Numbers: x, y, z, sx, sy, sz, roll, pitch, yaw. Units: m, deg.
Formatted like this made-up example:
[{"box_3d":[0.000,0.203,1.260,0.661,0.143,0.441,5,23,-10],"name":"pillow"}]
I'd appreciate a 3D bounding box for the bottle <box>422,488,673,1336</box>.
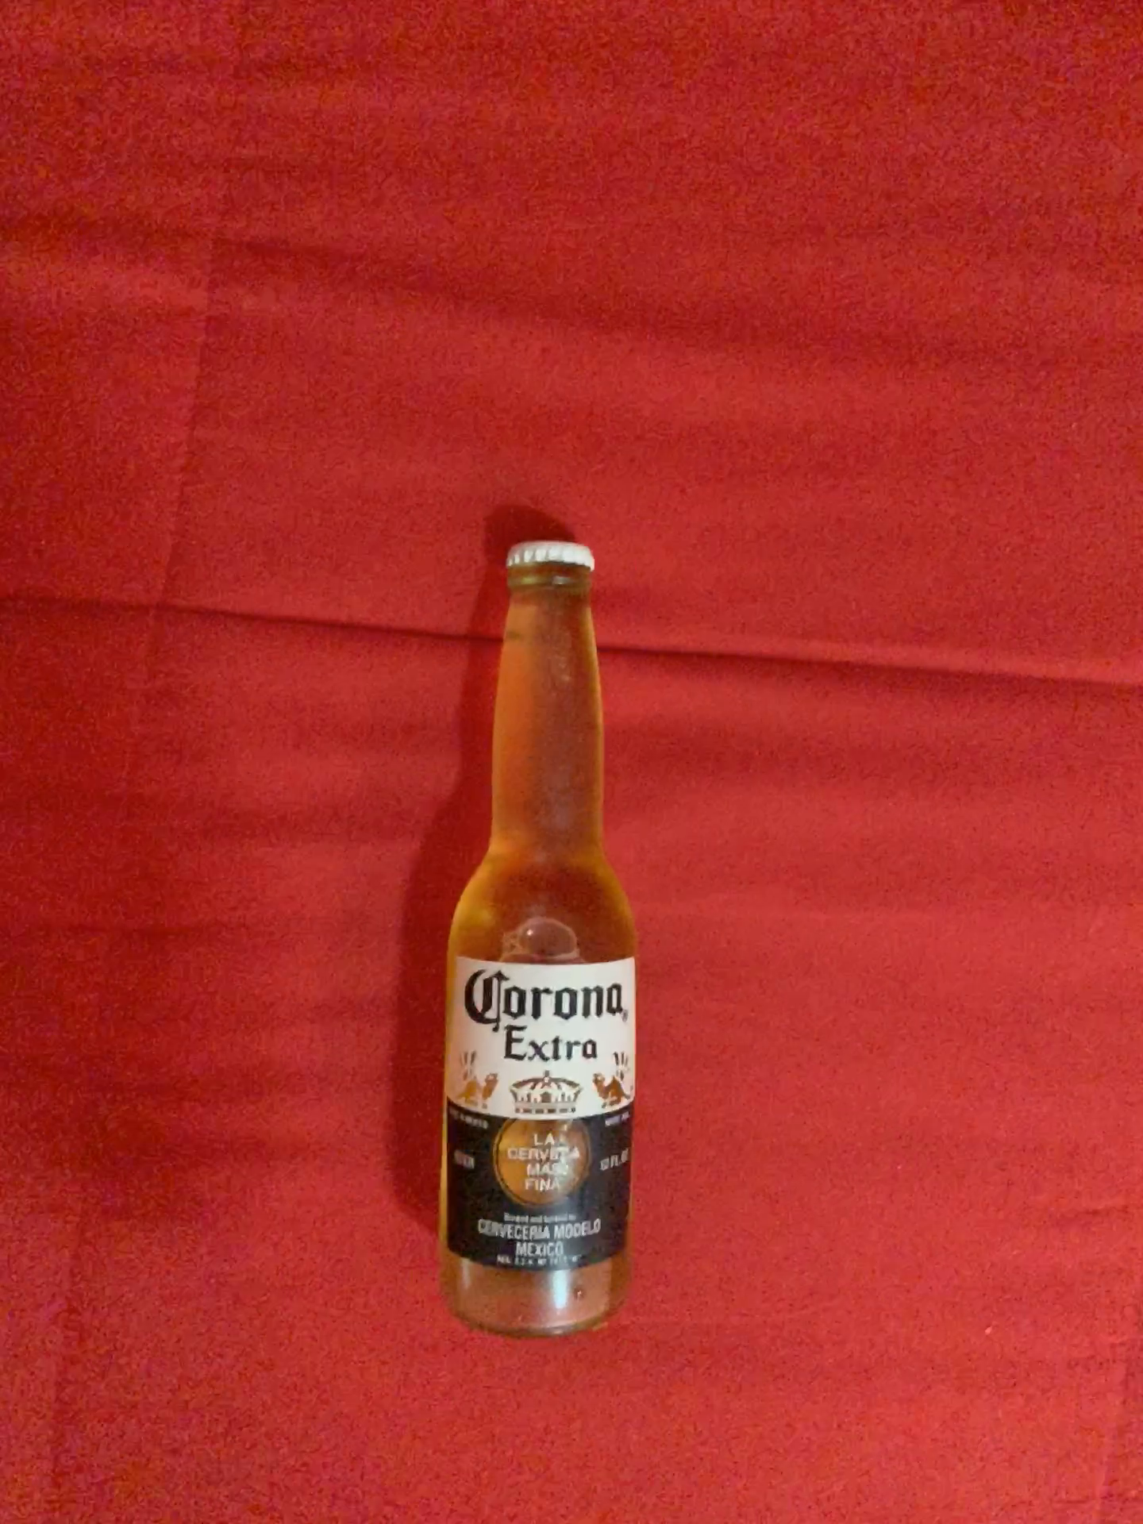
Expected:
[{"box_3d":[-0.009,0.045,0.376,0.070,0.070,0.250,1,94,-1],"name":"bottle"}]
